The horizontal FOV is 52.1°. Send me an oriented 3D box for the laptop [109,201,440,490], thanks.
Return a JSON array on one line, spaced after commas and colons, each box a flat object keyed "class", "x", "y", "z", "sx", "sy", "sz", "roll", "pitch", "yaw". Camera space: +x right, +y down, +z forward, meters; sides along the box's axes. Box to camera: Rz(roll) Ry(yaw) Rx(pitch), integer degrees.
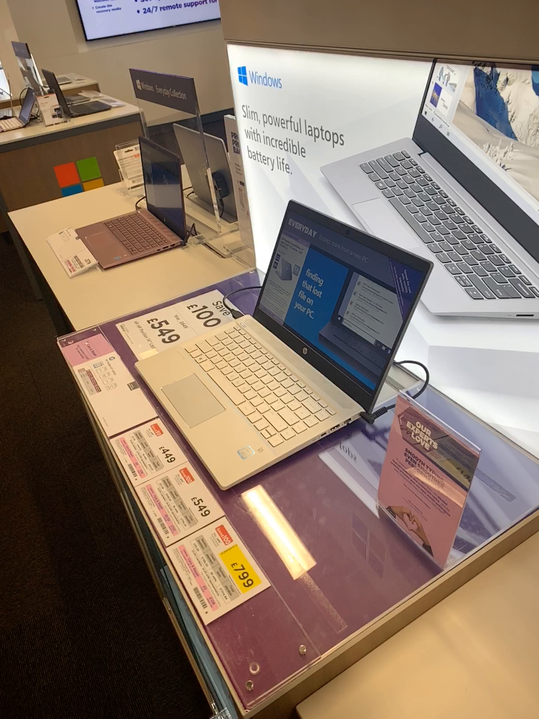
[{"class": "laptop", "x": -0.002, "y": -0.052, "z": 0.771, "sx": 0.323, "sy": 0.171, "sz": 0.315, "roll": -25, "pitch": 38, "yaw": -20}]
